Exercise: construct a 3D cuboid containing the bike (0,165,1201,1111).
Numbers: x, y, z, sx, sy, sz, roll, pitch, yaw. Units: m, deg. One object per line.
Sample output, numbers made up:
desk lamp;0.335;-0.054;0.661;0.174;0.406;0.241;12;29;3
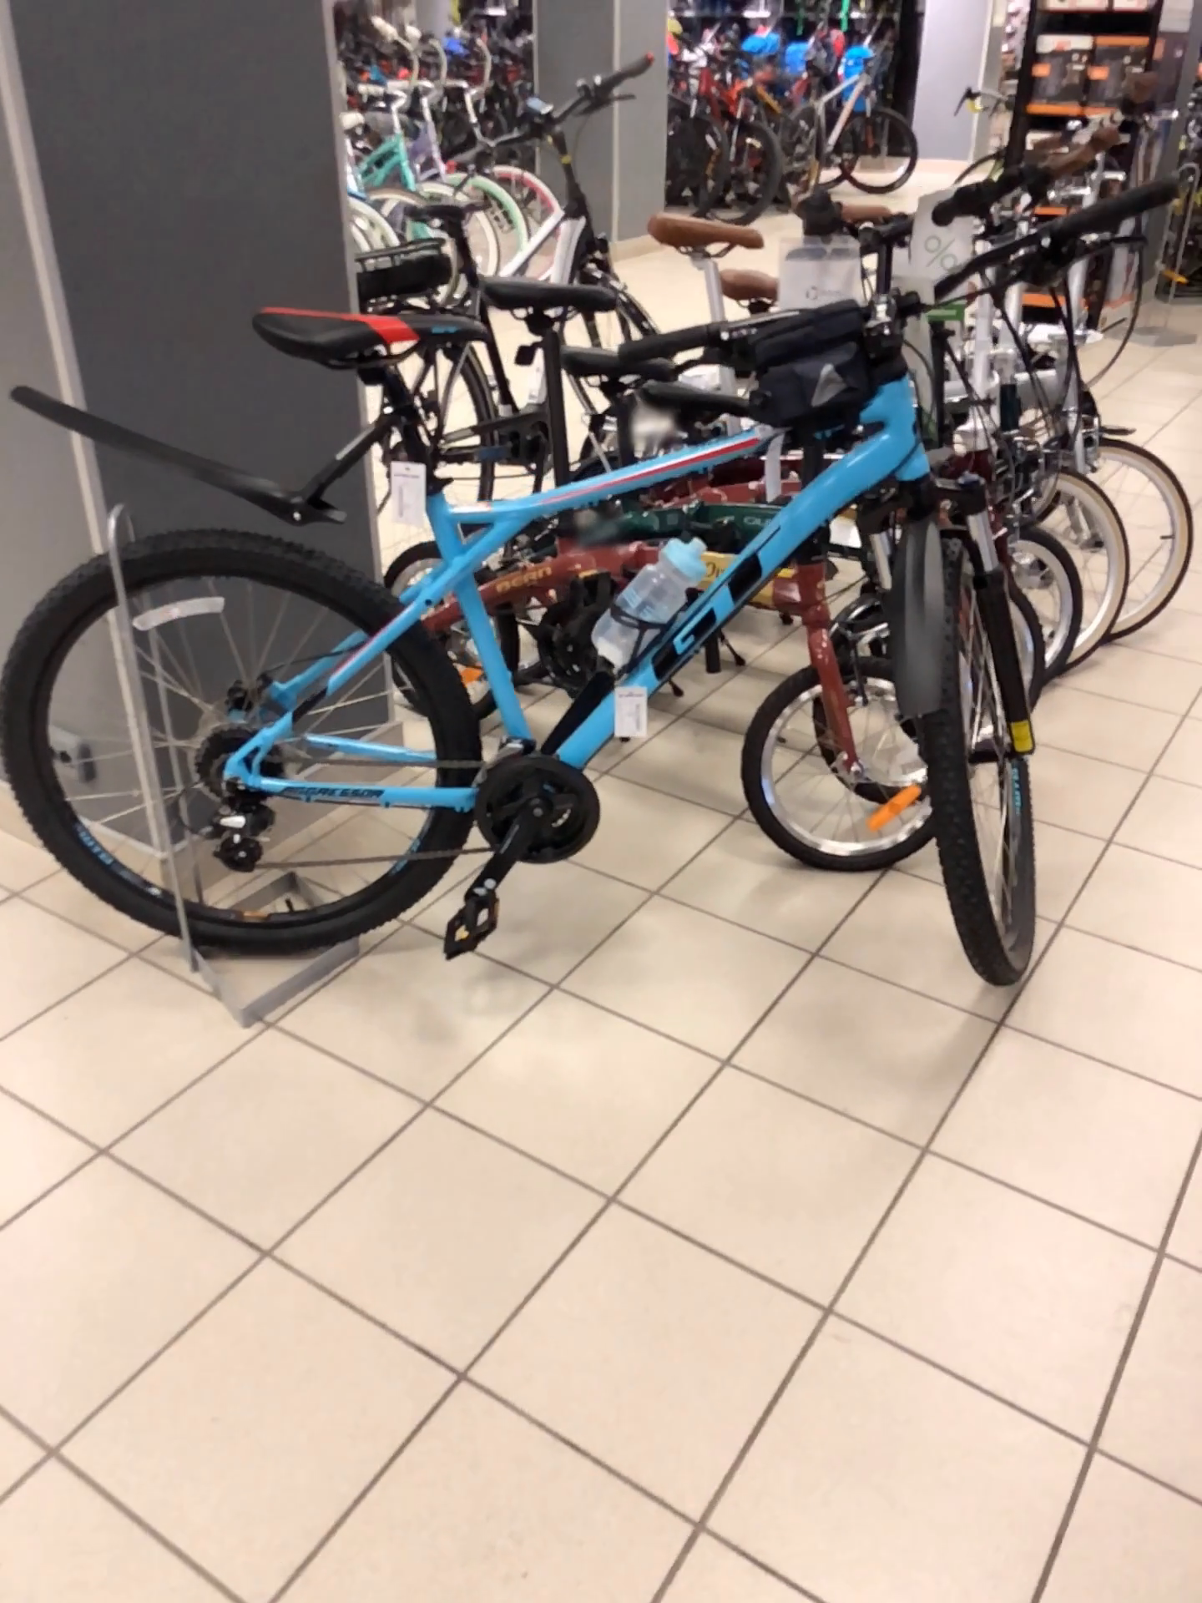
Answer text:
bike;-0.084;-0.311;1.970;1.611;1.084;0.695;-6;30;-13
